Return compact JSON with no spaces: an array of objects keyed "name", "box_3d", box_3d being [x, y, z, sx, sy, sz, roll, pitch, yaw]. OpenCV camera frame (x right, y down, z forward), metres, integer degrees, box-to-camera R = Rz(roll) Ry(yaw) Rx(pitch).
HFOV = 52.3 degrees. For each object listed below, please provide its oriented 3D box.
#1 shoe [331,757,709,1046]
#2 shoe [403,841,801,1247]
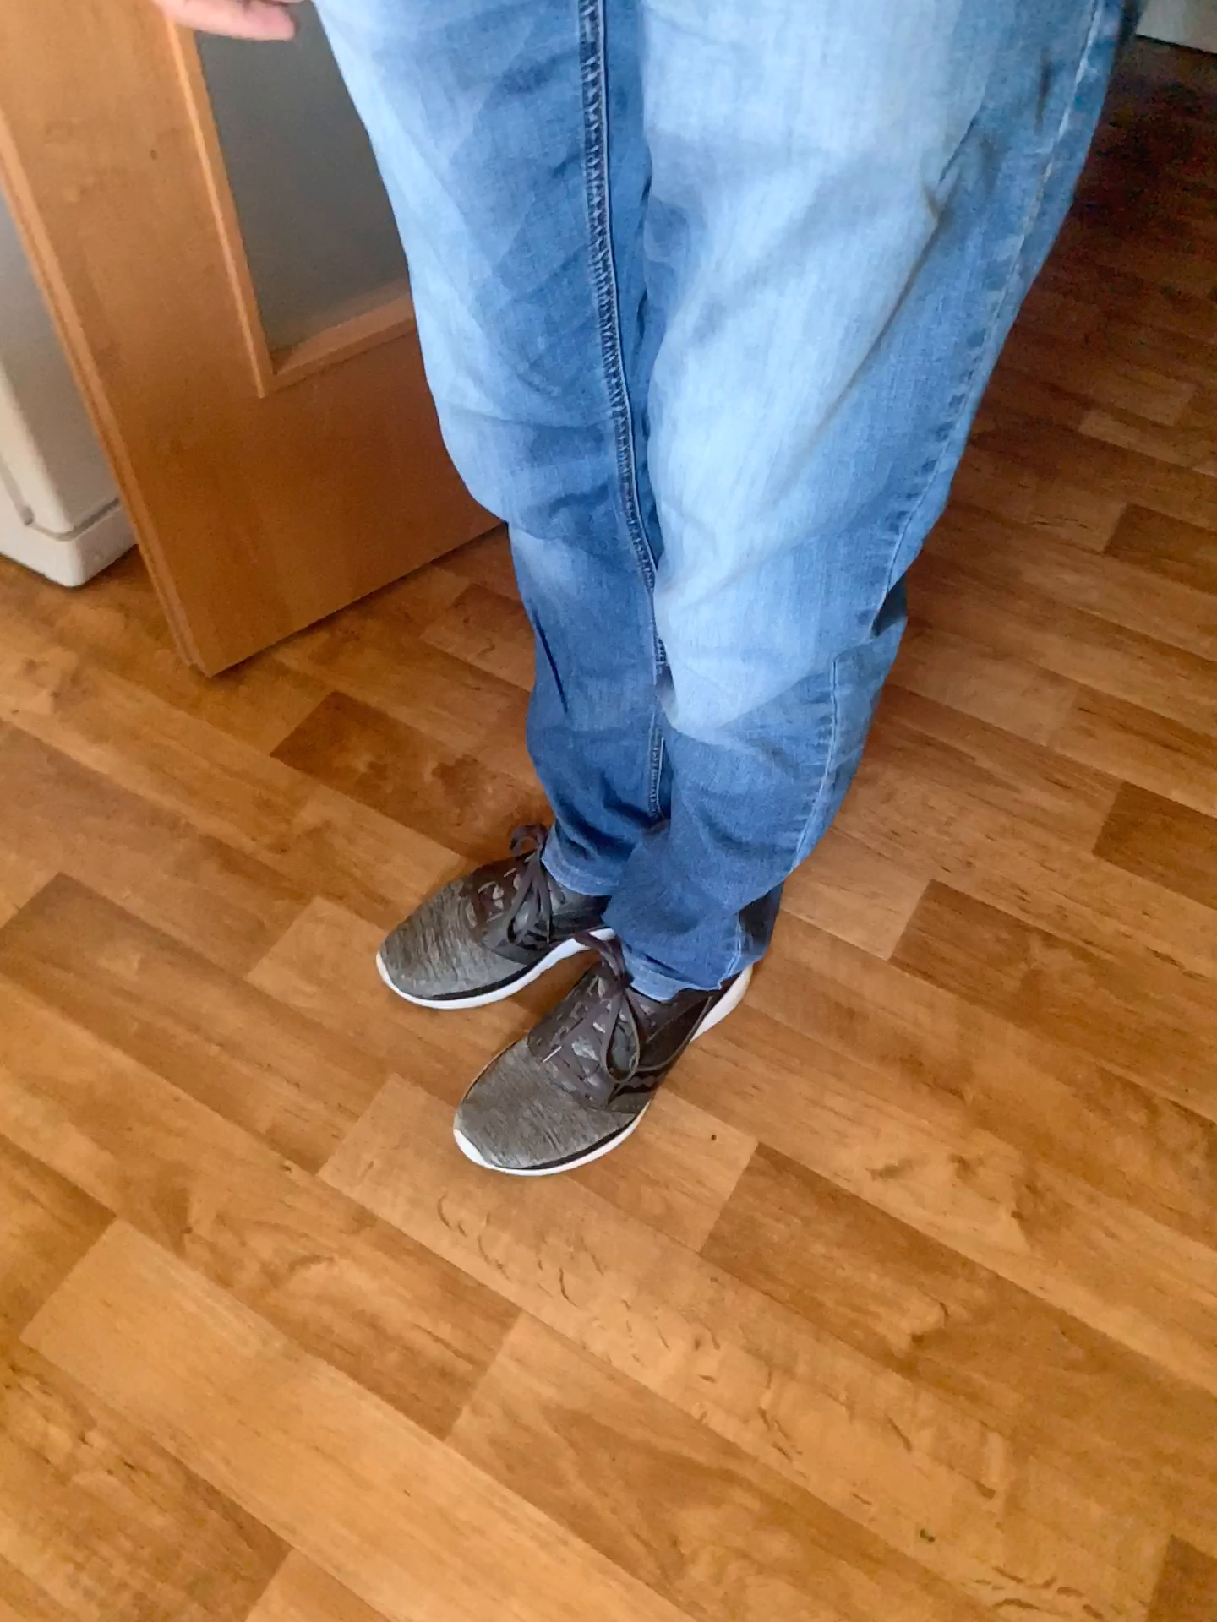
[{"name":"shoe","box_3d":[-0.072,0.073,1.046,0.280,0.100,0.124,-19,56,-15]},{"name":"shoe","box_3d":[0.000,0.174,0.973,0.134,0.100,0.290,39,62,24]}]
